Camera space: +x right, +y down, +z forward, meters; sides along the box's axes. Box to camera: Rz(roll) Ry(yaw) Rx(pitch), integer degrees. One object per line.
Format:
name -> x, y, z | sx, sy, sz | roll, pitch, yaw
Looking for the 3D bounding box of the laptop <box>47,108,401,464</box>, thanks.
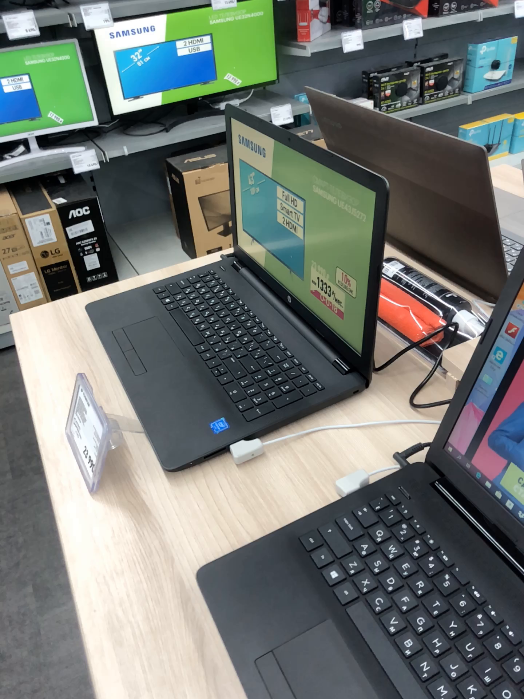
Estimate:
laptop -> -0.065, -0.112, 0.693 | 0.273, 0.222, 0.363 | -20, 38, -18
